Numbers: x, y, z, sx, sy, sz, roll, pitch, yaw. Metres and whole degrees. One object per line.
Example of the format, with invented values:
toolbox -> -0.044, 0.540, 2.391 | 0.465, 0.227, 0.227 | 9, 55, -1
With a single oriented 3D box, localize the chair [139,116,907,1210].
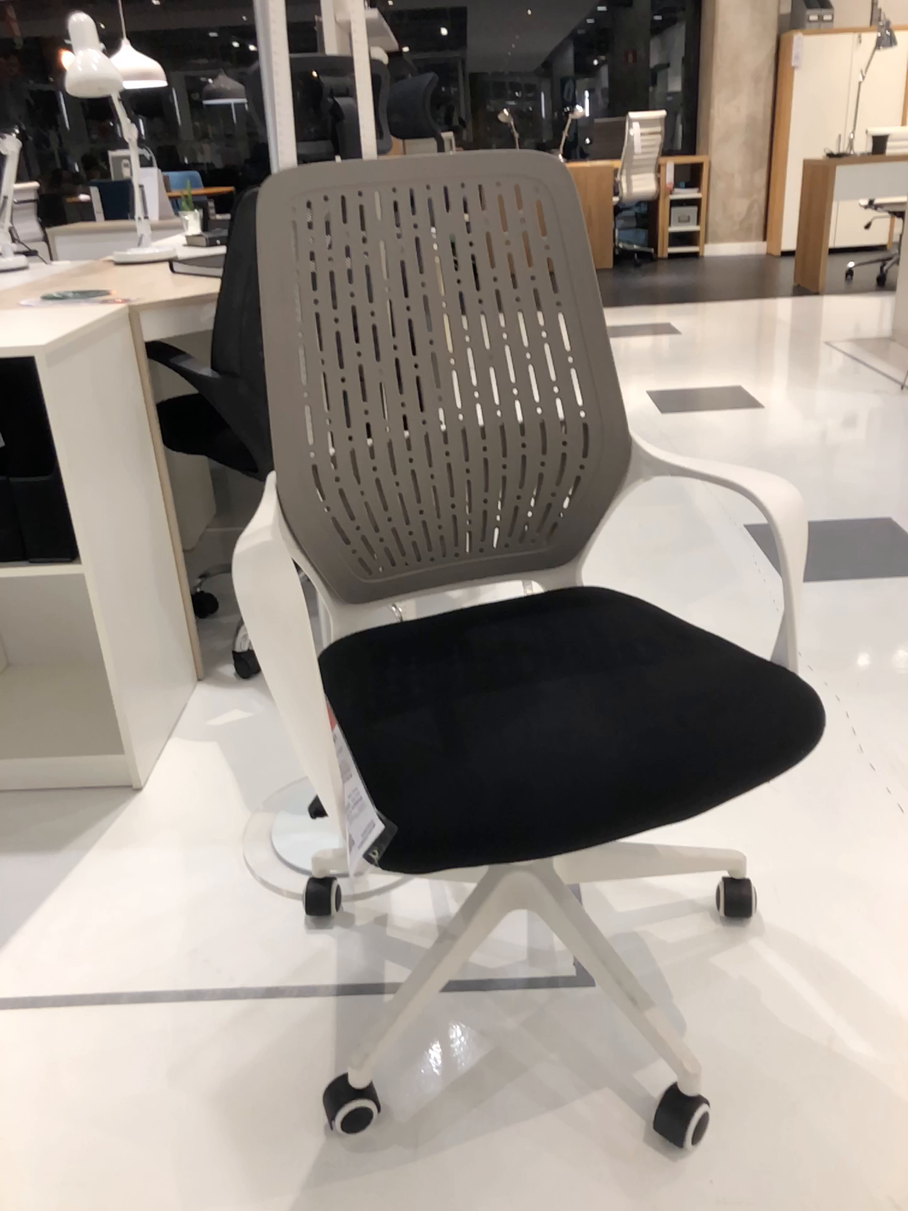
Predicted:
chair -> 0.098, 0.031, 1.136 | 0.691, 1.003, 0.674 | -10, 25, -16
